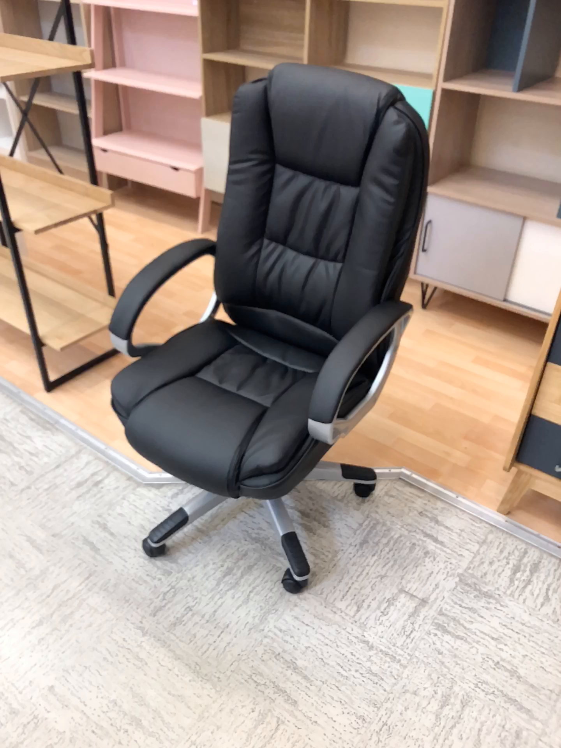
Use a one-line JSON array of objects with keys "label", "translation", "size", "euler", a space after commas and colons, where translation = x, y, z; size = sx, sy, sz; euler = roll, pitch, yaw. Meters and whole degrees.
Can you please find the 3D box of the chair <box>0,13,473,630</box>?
[{"label": "chair", "translation": [-0.131, -0.176, 1.417], "size": [0.760, 1.063, 0.685], "euler": [19, 37, 24]}]
